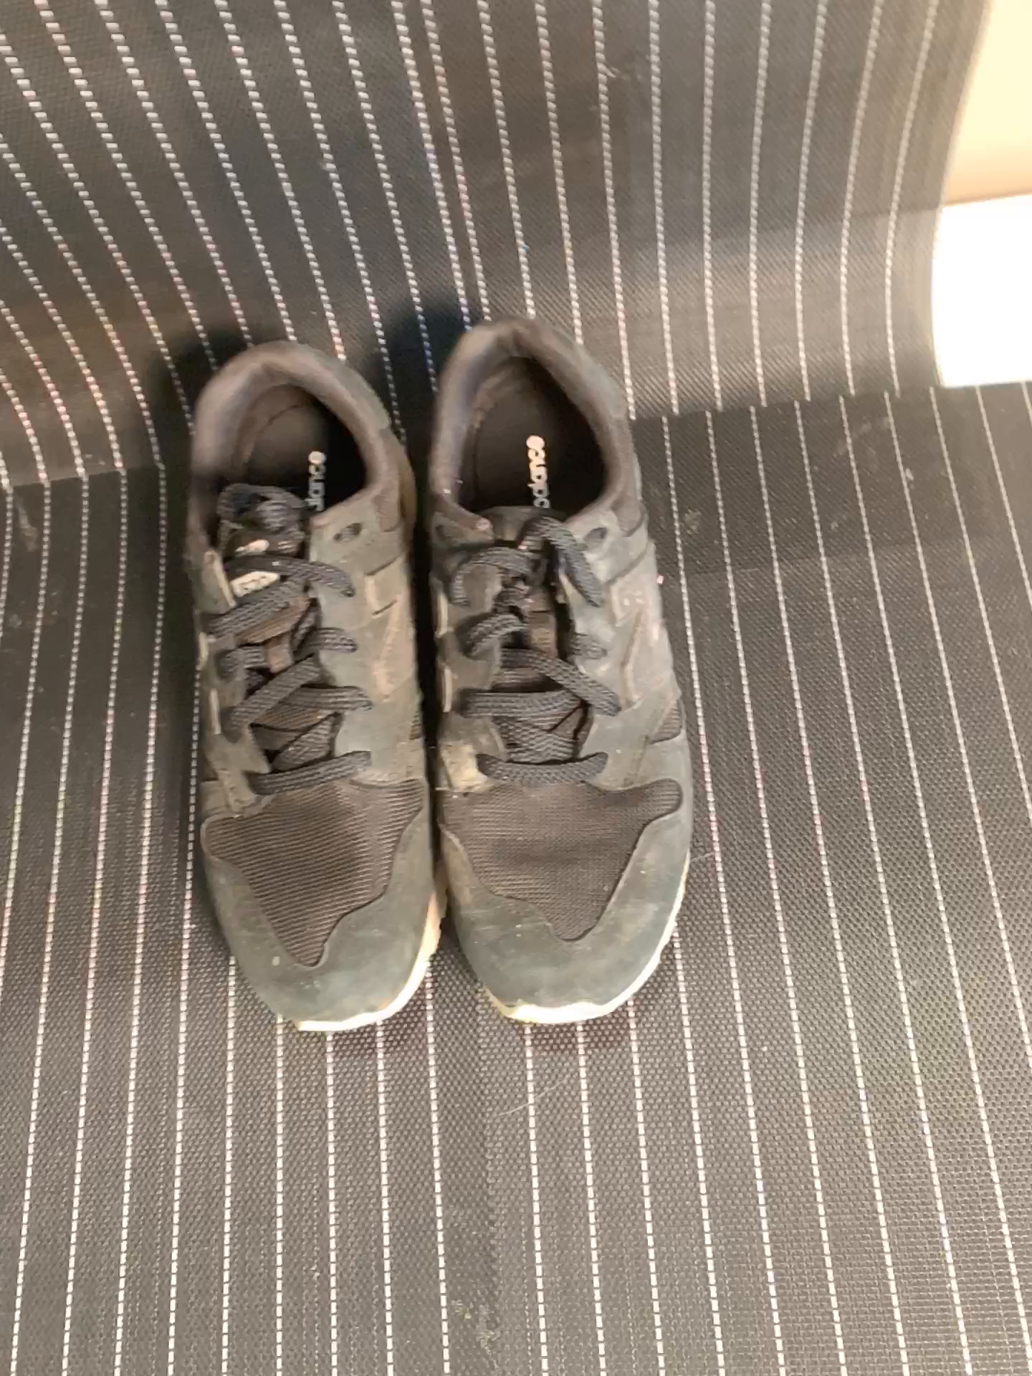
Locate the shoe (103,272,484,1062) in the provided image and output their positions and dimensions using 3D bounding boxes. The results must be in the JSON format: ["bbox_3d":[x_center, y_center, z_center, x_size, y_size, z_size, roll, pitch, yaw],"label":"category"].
[{"bbox_3d":[-0.083,-0.013,0.434,0.110,0.090,0.300,-7,68,5],"label":"shoe"}]

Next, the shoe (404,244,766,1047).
[{"bbox_3d":[0.020,-0.021,0.423,0.110,0.090,0.300,-5,68,6],"label":"shoe"}]
